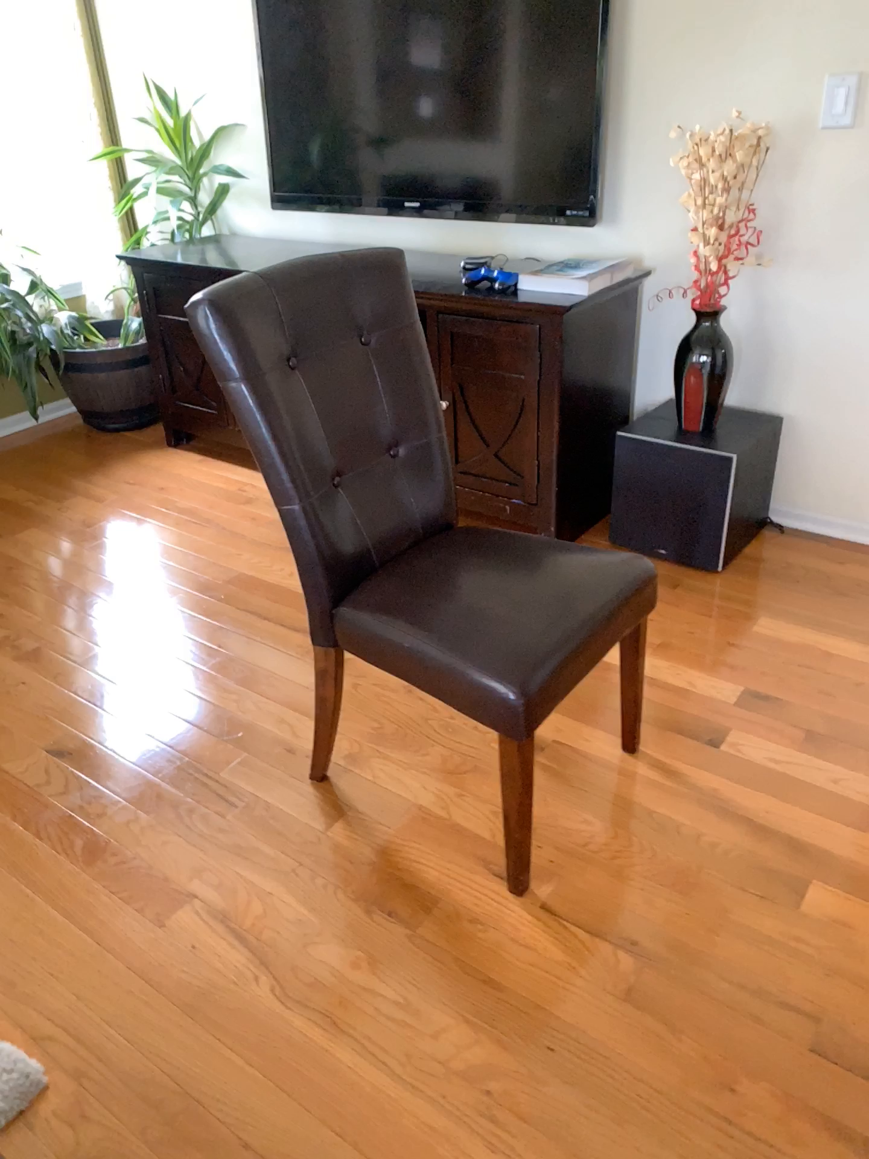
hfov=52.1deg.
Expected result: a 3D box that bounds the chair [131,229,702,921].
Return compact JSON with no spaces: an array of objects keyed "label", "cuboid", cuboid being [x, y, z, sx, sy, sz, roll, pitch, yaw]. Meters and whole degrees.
[{"label":"chair","cuboid":[-0.012,-0.065,1.631,0.723,0.977,0.540,18,35,32]}]
